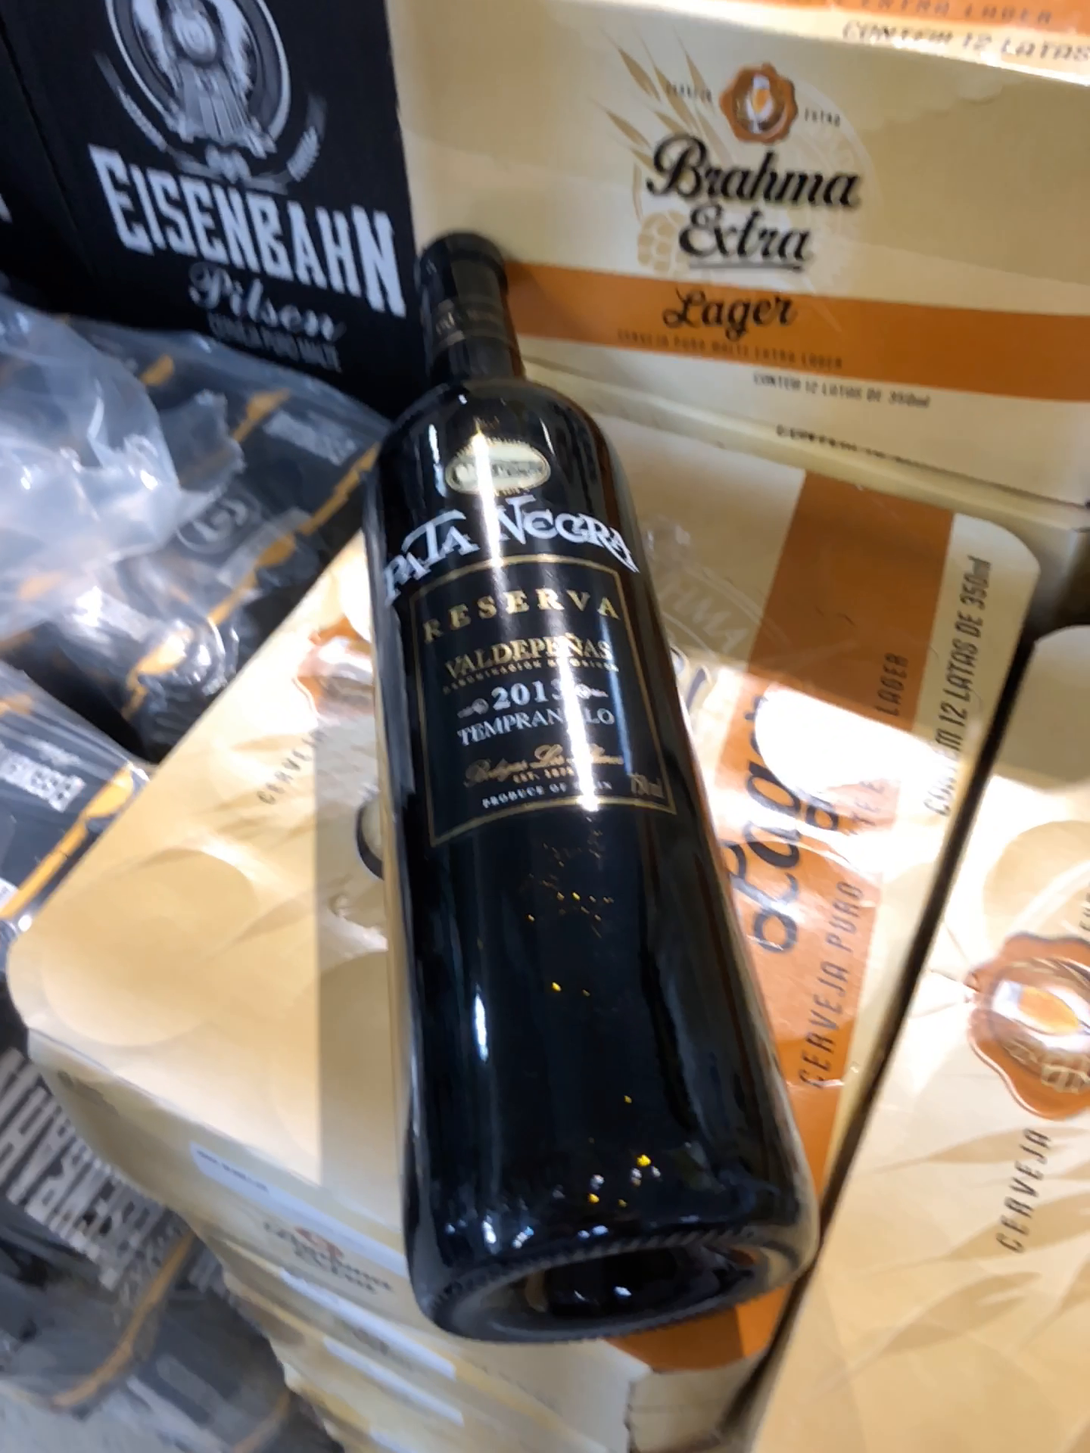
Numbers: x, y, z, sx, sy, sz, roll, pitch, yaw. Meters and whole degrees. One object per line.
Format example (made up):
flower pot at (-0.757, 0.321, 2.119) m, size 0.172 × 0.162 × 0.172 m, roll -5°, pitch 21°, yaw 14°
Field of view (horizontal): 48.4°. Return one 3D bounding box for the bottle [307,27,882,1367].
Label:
bottle at (-0.014, -0.056, 0.320) m, size 0.080 × 0.079 × 0.383 m, roll -7°, pitch 52°, yaw -2°
